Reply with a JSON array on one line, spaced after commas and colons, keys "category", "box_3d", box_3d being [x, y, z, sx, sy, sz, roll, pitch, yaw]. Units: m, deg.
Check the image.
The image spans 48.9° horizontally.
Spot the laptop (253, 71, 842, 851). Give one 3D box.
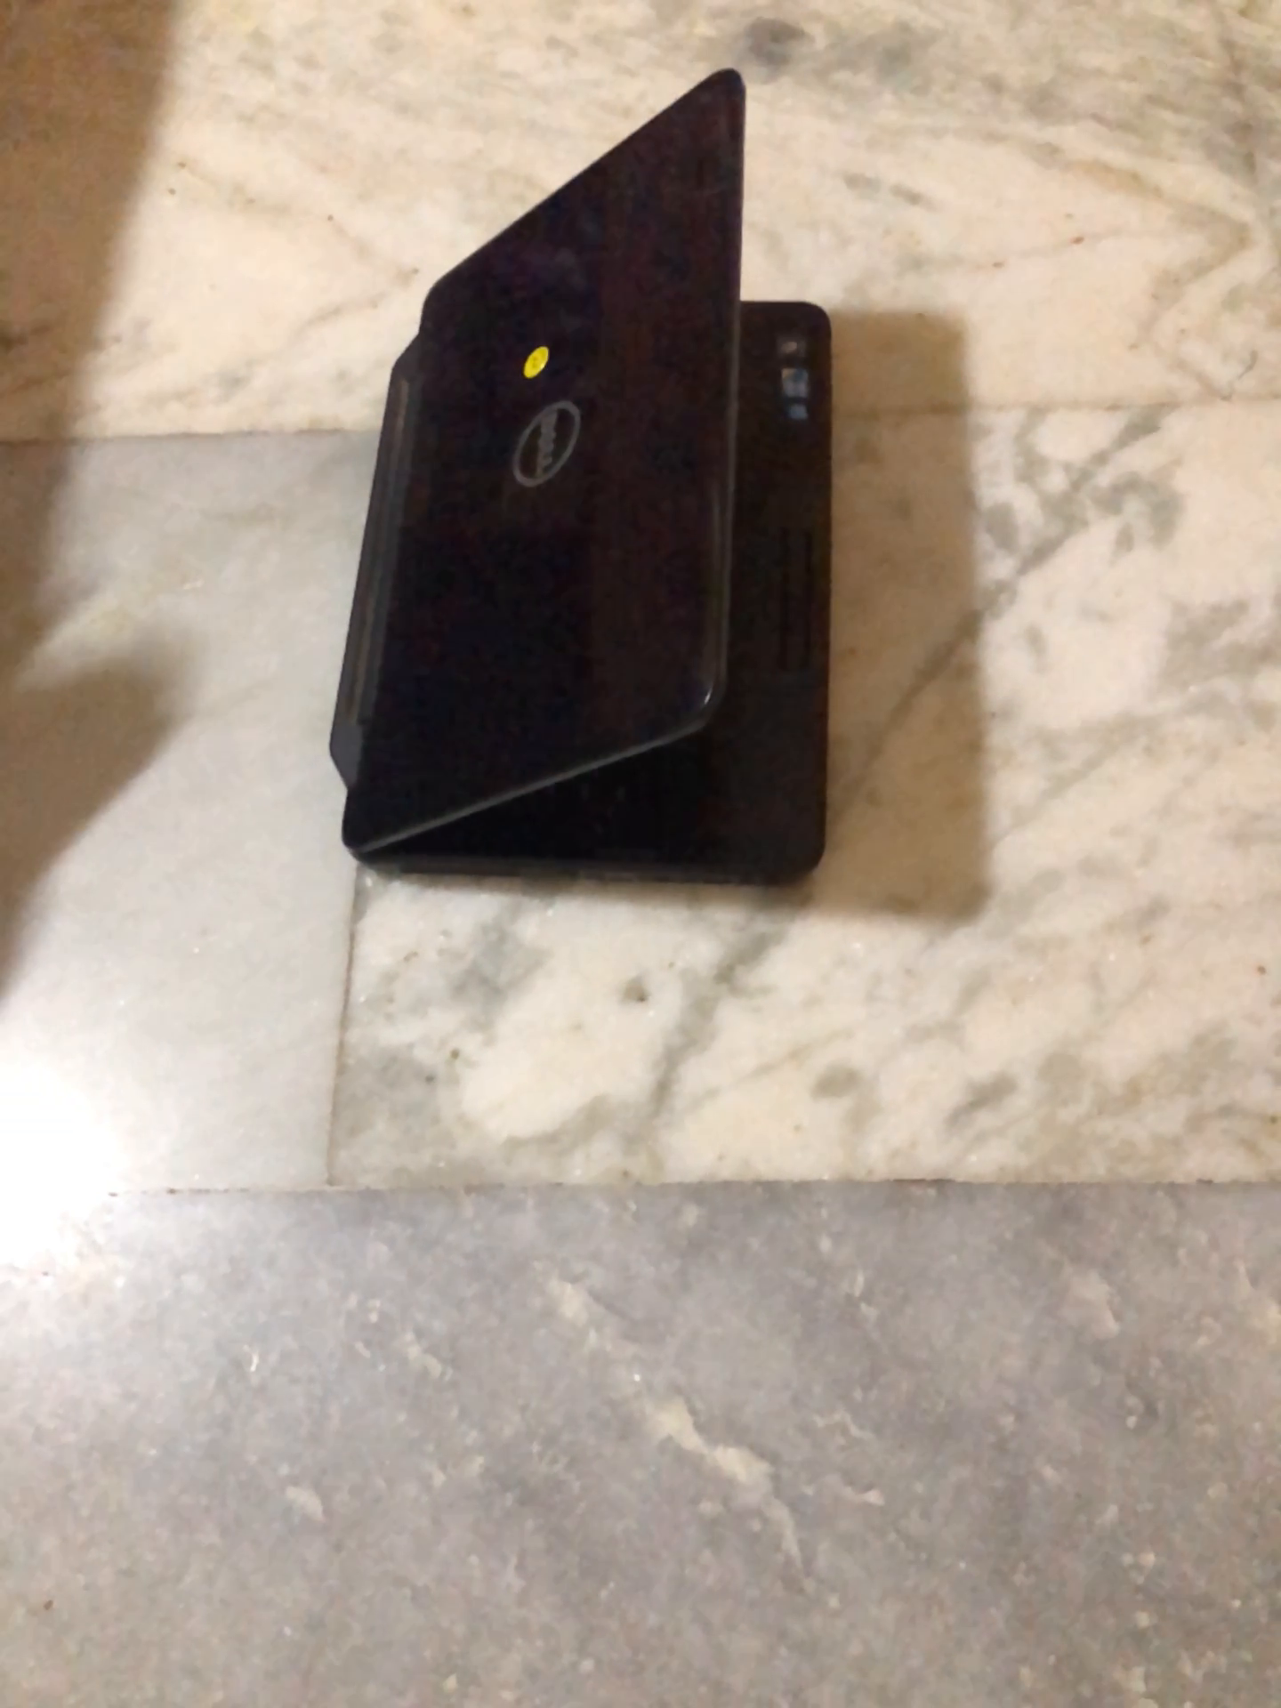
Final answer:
[{"category": "laptop", "box_3d": [-0.027, -0.193, 0.701, 0.234, 0.161, 0.352, 0, 65, 5]}]
